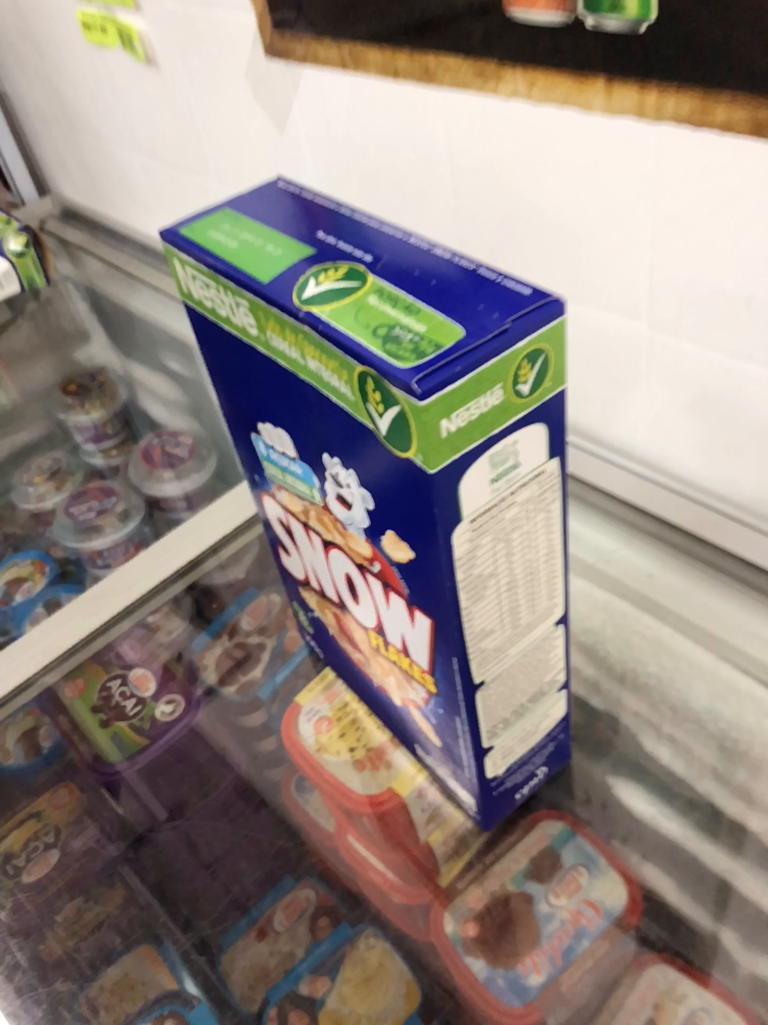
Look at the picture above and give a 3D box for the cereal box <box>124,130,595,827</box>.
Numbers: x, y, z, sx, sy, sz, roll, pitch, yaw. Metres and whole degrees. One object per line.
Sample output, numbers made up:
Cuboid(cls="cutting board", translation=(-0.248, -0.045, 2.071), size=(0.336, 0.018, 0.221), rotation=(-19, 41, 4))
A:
Cuboid(cls="cereal box", translation=(0.002, -0.006, 0.370), size=(0.070, 0.258, 0.171), rotation=(-34, 47, -21))
